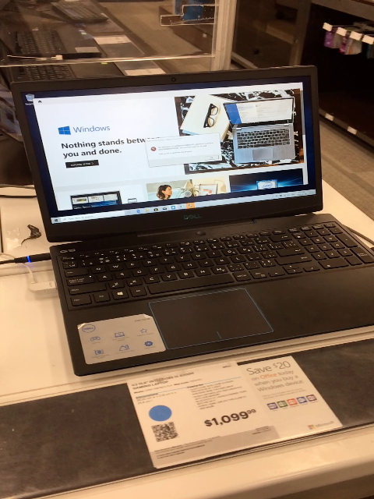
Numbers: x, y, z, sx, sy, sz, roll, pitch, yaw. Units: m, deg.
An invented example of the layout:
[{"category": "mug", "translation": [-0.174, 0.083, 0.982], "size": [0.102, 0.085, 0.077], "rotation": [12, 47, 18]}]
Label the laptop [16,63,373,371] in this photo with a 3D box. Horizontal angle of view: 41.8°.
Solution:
[{"category": "laptop", "translation": [0.039, -0.072, 0.603], "size": [0.420, 0.198, 0.356], "rotation": [-9, 39, -12]}]
